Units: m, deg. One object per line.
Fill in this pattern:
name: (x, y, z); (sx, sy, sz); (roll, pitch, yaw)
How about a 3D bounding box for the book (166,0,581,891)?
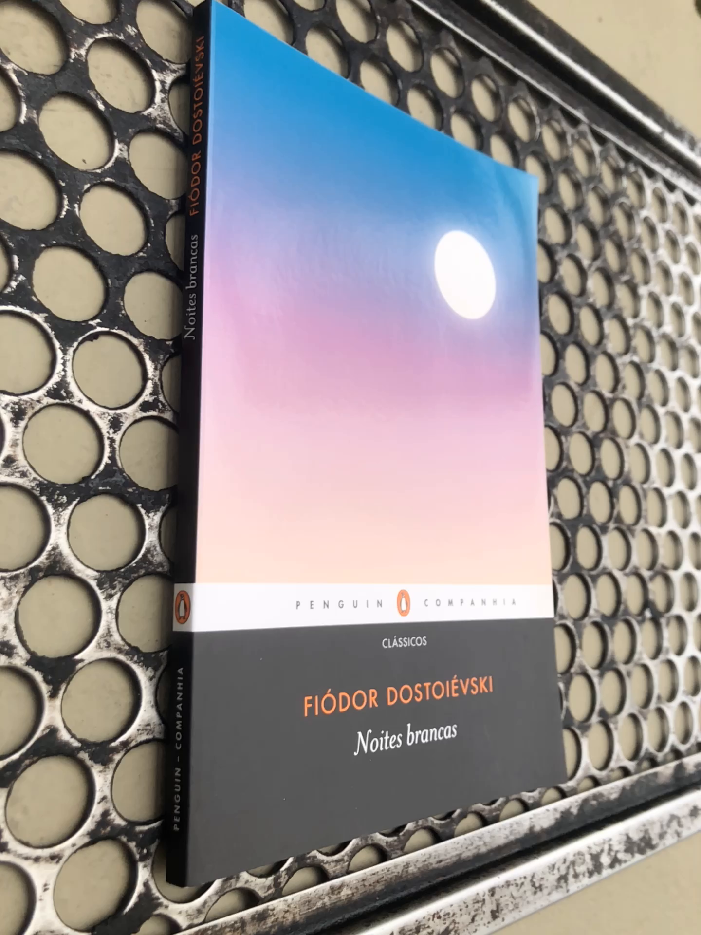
book: (0.016, -0.007, 0.211); (0.133, 0.010, 0.191); (8, 78, -41)
